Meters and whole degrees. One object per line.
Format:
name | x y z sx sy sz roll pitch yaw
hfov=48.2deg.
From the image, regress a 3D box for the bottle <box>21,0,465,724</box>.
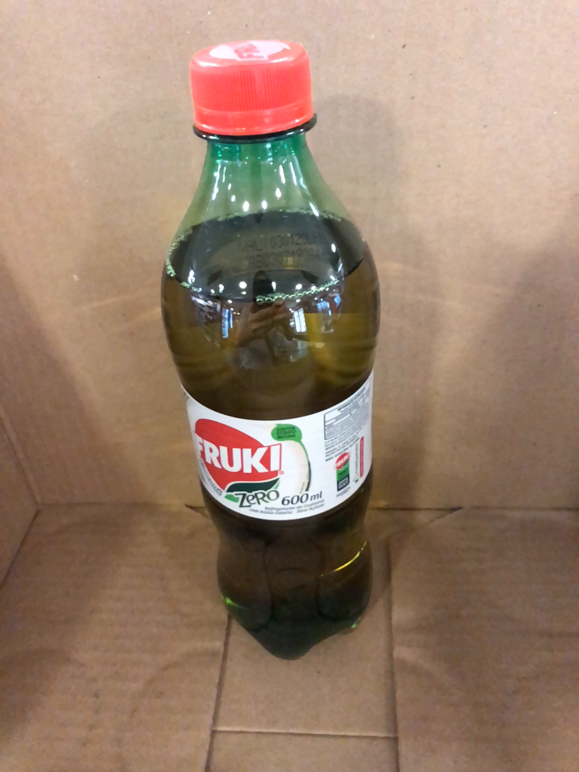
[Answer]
bottle | 0.002 0.009 0.225 0.080 0.238 0.081 -3 38 2
